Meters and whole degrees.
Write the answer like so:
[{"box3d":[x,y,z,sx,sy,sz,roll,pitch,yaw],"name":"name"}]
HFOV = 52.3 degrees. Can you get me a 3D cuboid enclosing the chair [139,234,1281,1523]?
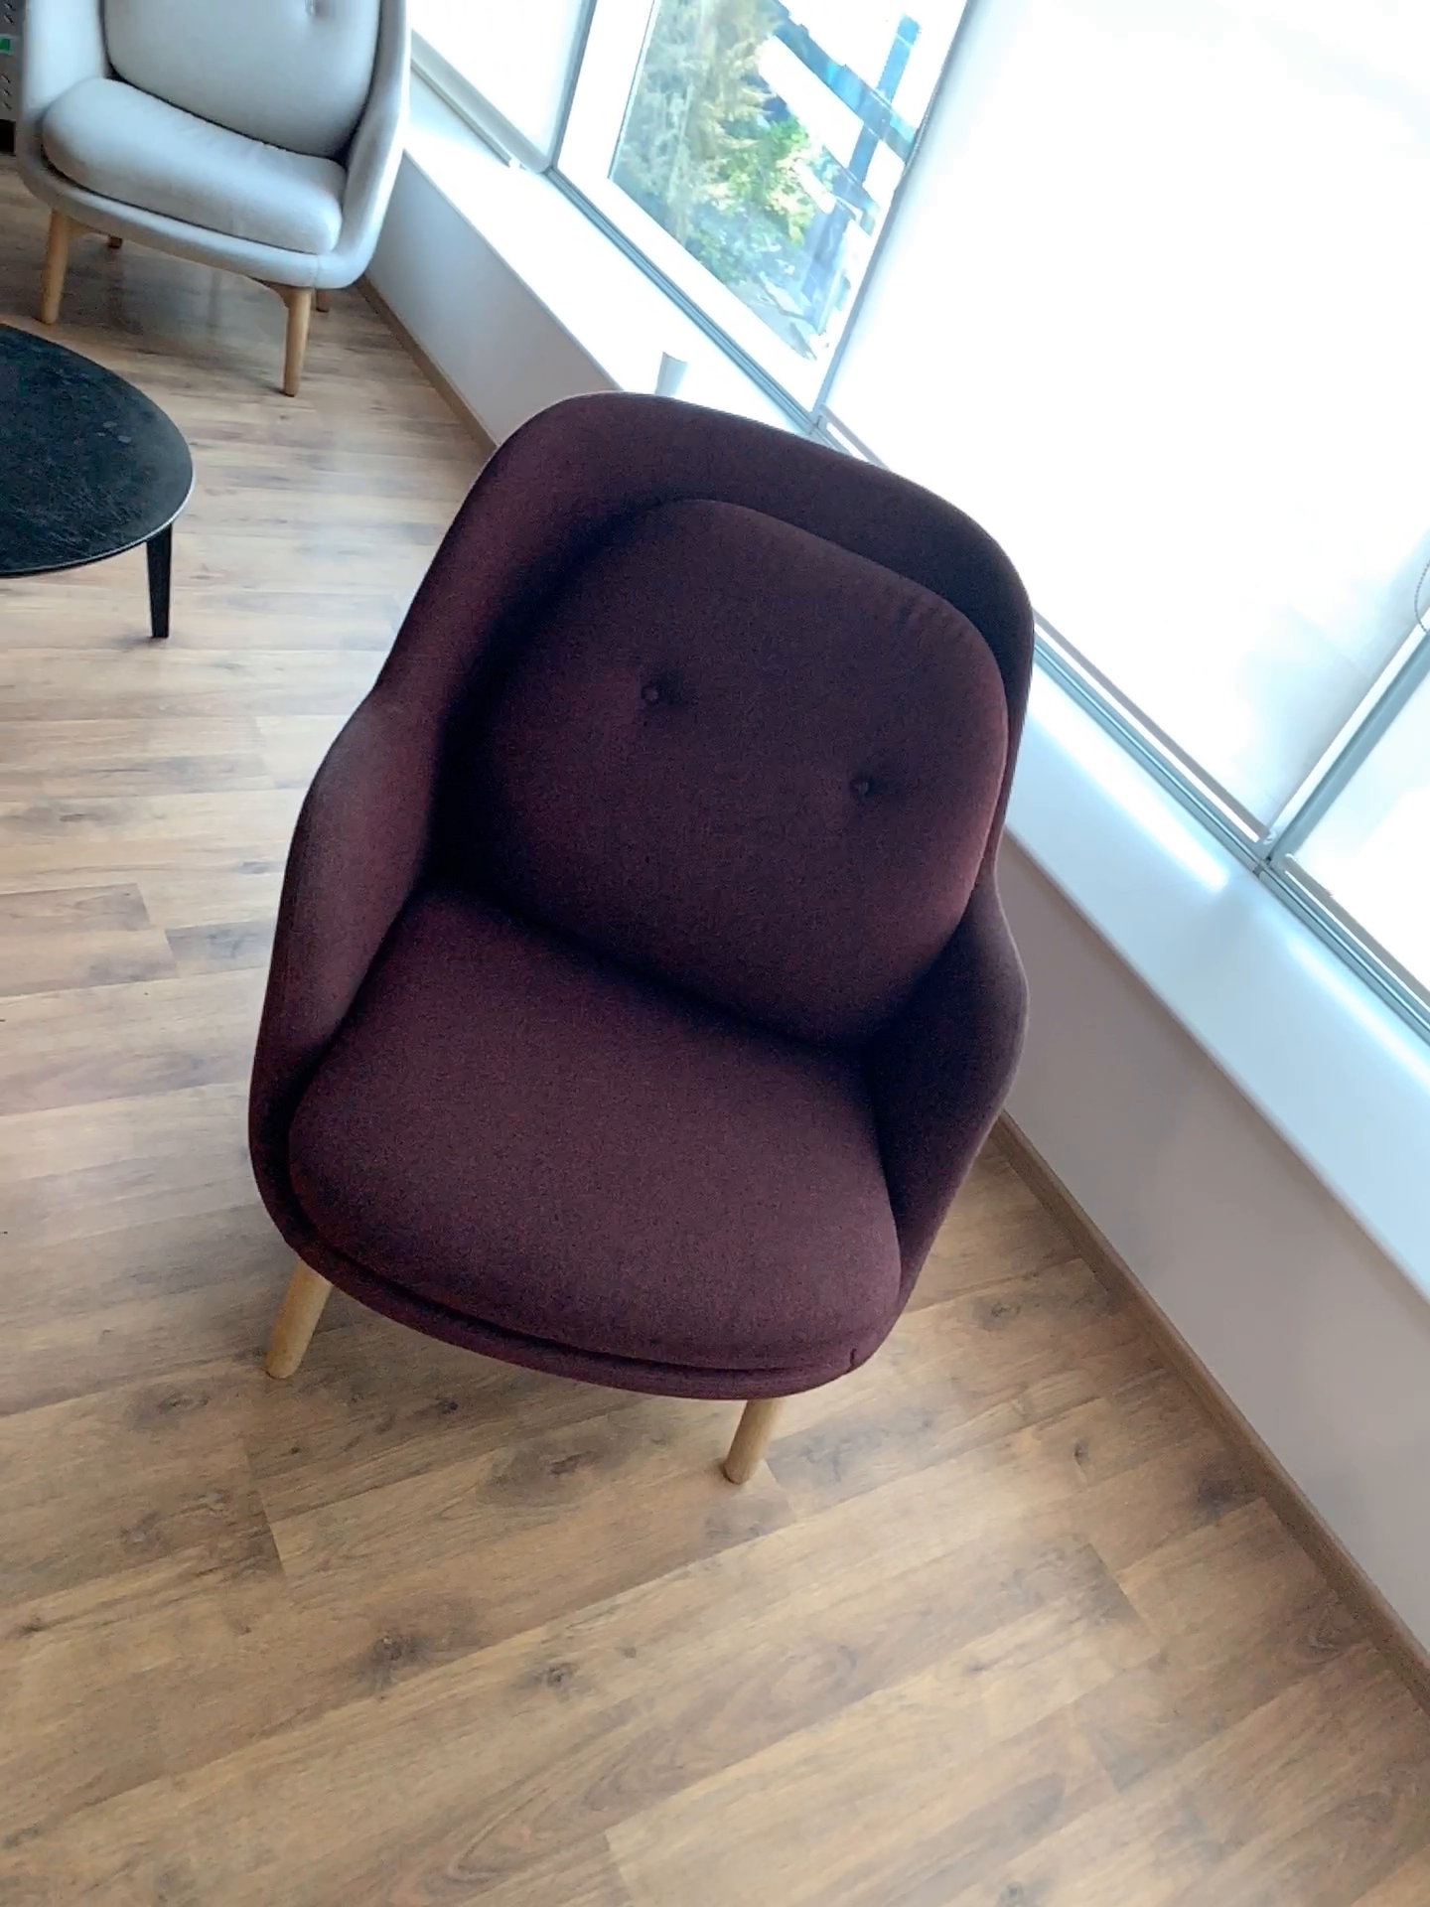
[{"box3d":[-0.068,-0.039,1.455,0.690,0.932,0.635,18,38,-7],"name":"chair"}]
